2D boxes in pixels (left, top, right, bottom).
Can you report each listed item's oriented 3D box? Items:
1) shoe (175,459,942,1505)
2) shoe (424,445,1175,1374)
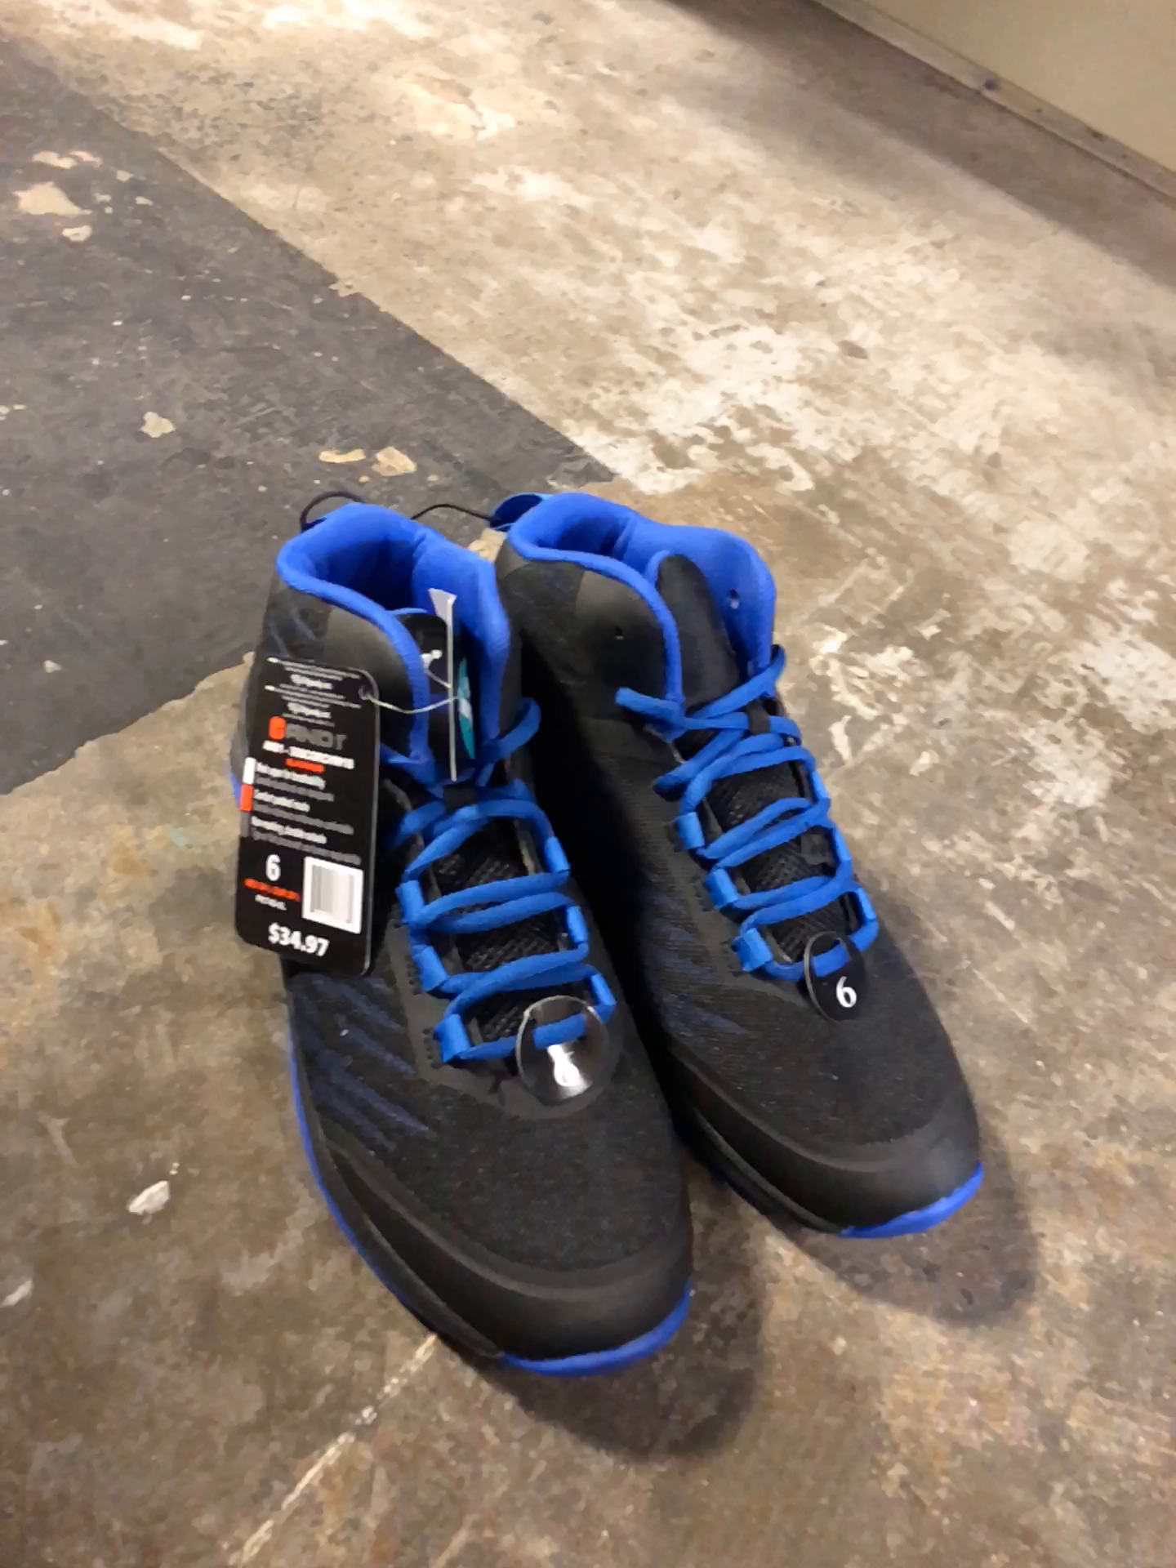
[{"bbox_3d":[-0.028,0.039,0.335,0.100,0.119,0.221,-13,55,-20],"label":"shoe"},{"bbox_3d":[0.053,0.026,0.391,0.110,0.119,0.231,-19,58,-24],"label":"shoe"}]
